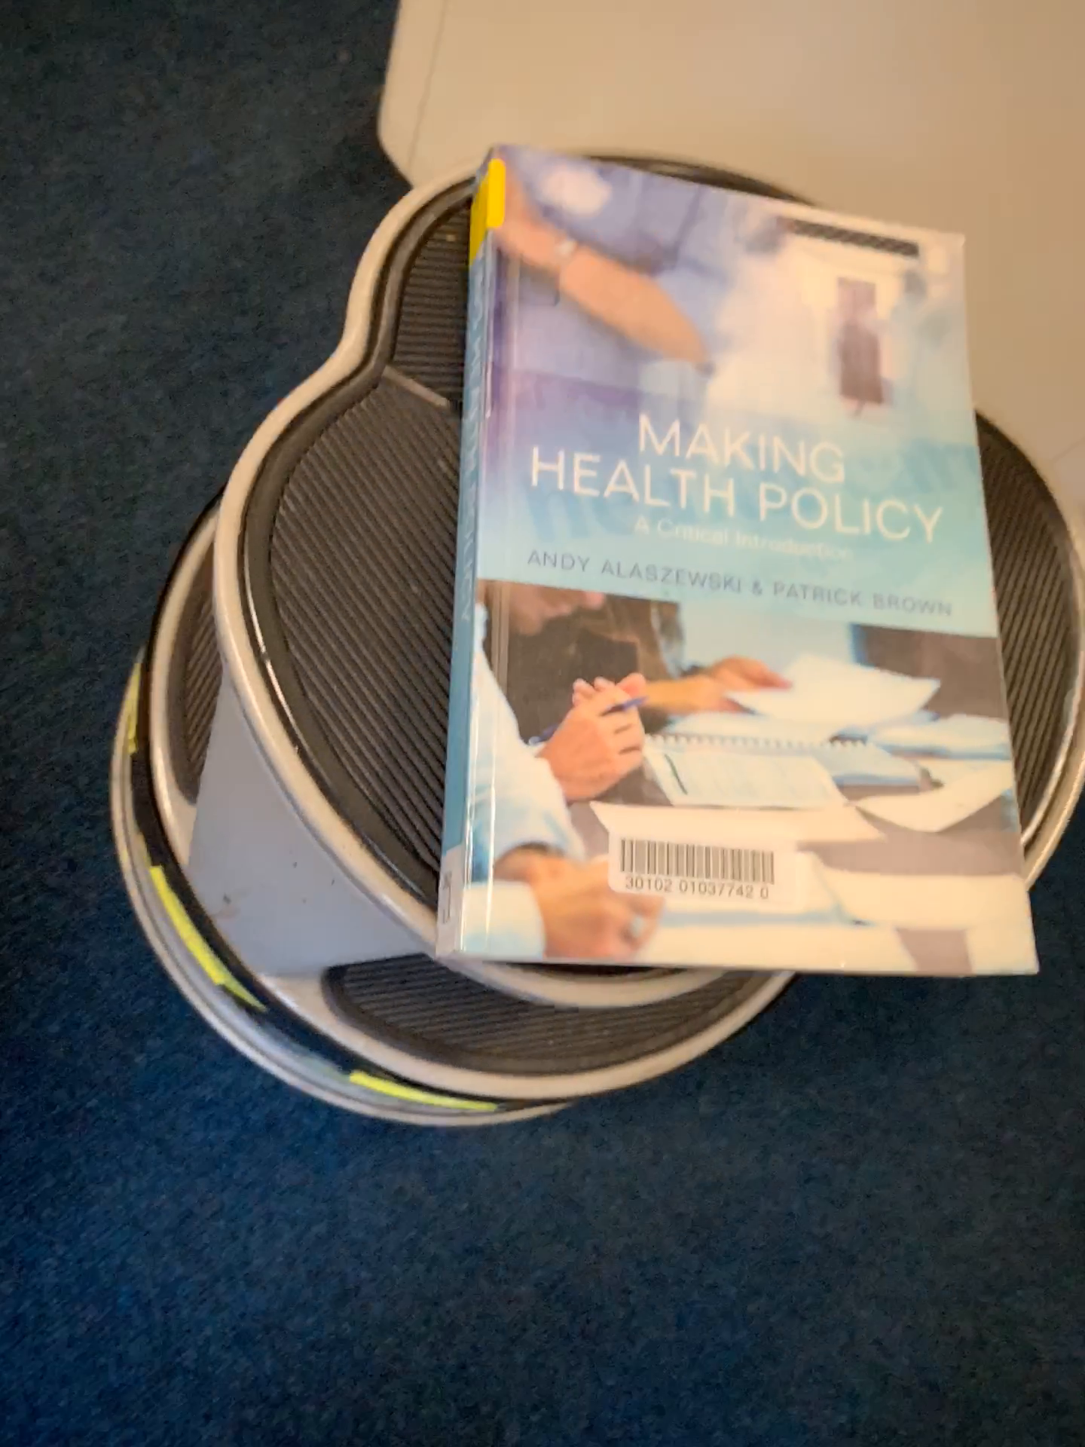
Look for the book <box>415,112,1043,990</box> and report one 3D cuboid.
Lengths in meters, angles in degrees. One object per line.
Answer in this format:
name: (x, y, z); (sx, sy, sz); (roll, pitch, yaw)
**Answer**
book: (0.052, -0.051, 0.324); (0.160, 0.030, 0.241); (6, 72, -14)
